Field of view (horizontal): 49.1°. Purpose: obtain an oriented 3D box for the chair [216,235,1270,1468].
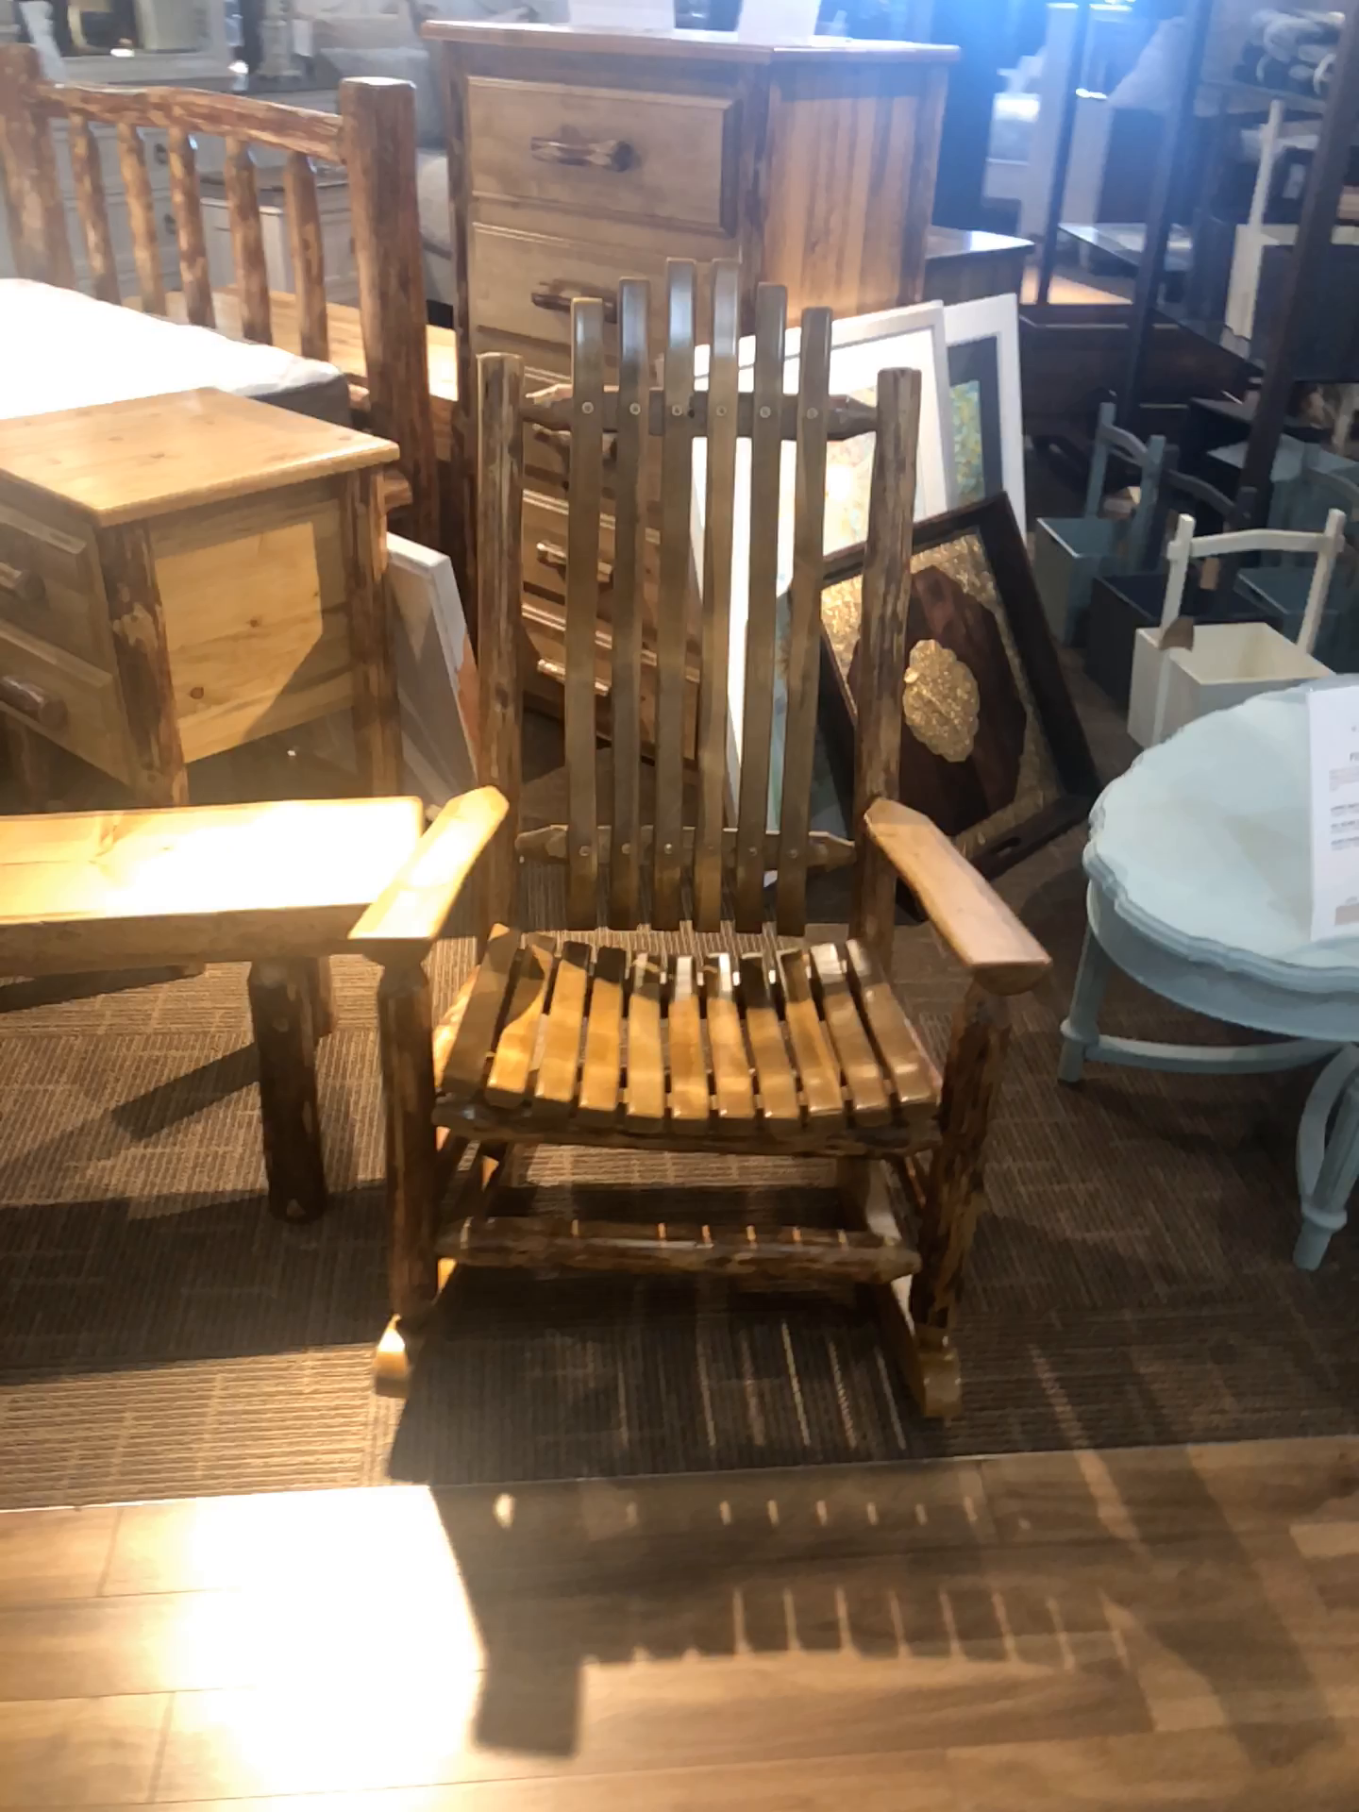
[{"bbox_3d":[0.024,-0.104,1.661,0.717,1.049,0.889,2,31,-1],"label":"chair"}]
